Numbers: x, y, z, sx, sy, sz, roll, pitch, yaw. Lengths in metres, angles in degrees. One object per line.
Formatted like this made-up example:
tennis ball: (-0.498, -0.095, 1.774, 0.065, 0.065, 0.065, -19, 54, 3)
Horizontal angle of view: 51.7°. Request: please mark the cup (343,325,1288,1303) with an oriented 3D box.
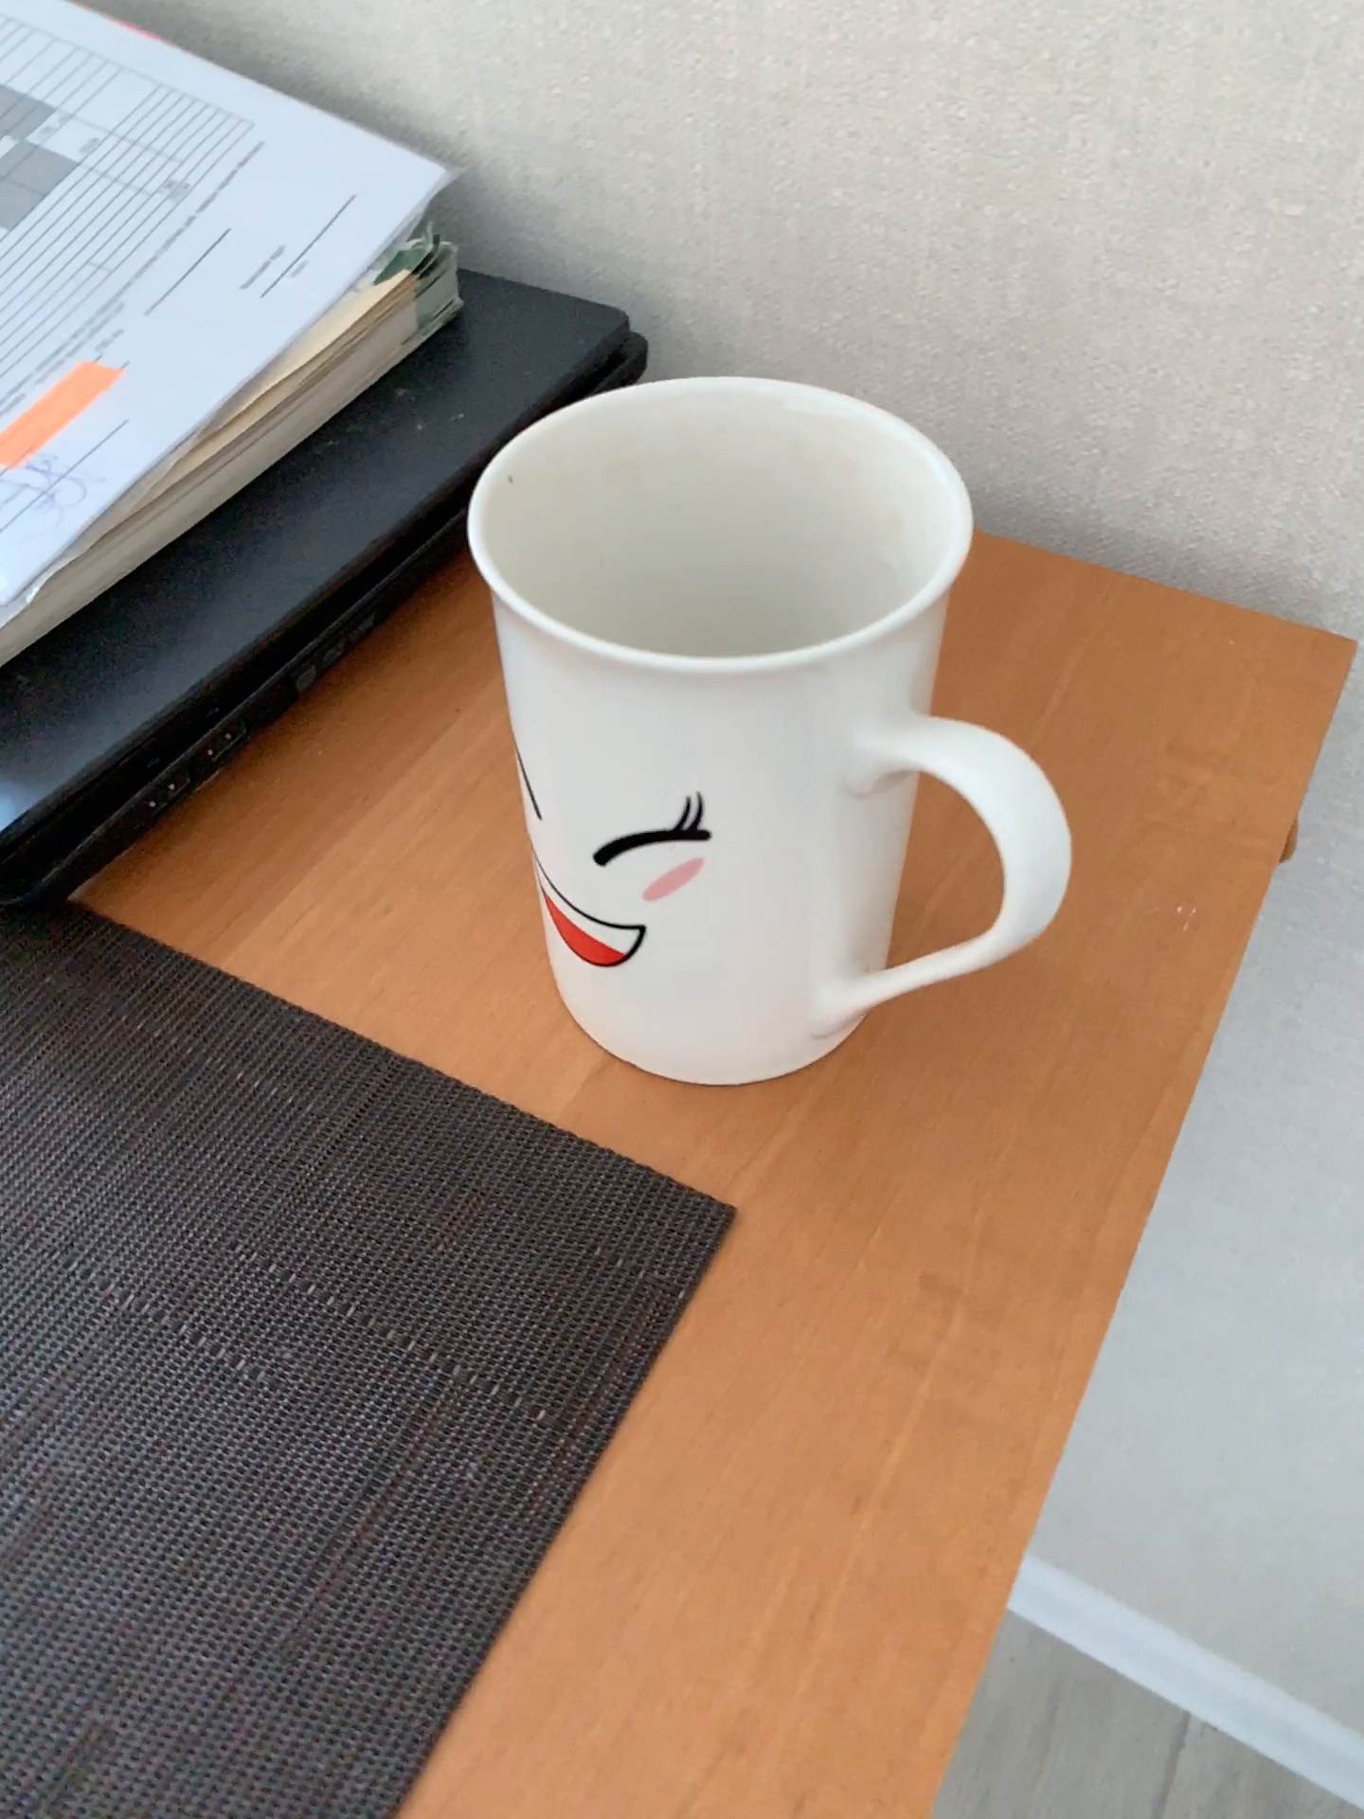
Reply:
cup: (0.015, -0.019, 0.232, 0.080, 0.095, 0.107, -33, 56, -27)
